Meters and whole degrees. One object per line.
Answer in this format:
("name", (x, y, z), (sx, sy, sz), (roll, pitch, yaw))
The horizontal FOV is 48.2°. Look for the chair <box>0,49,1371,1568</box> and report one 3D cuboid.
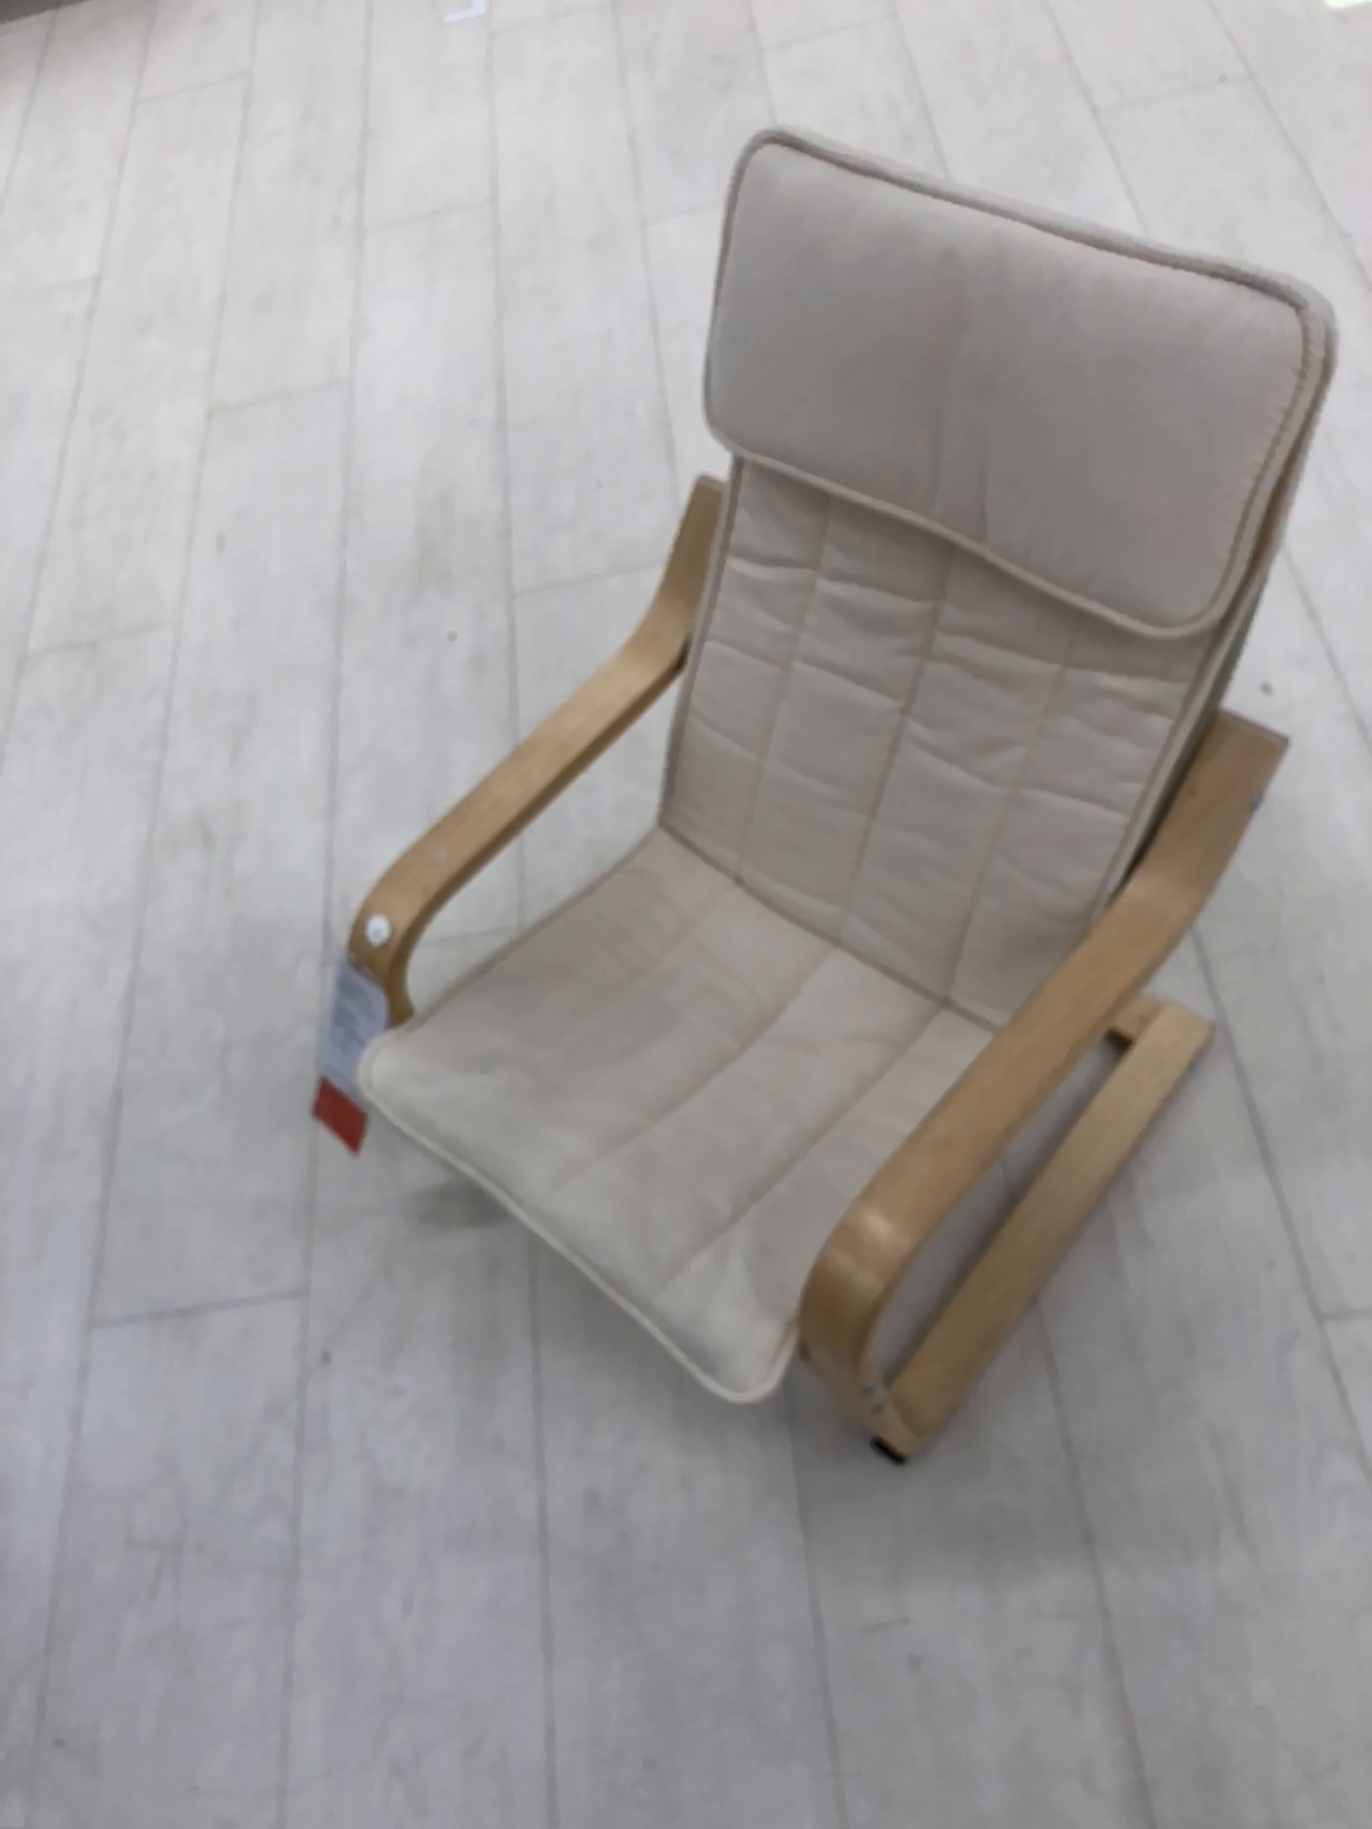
("chair", (0.041, -0.034, 1.029), (0.531, 0.688, 0.560), (32, 70, 28))
